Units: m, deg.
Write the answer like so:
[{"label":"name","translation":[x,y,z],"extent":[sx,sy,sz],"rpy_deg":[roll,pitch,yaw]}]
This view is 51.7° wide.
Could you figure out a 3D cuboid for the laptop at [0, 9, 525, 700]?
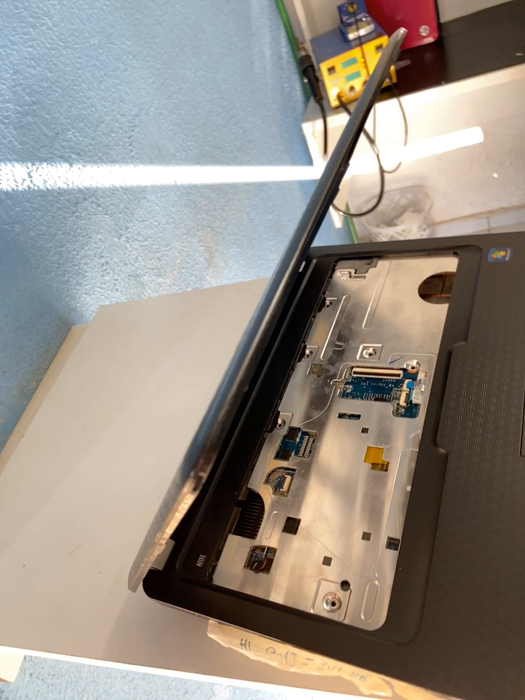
[{"label":"laptop","translation":[0.043,-0.027,0.317],"extent":[0.222,0.153,0.328],"rpy_deg":[0,47,30]}]
